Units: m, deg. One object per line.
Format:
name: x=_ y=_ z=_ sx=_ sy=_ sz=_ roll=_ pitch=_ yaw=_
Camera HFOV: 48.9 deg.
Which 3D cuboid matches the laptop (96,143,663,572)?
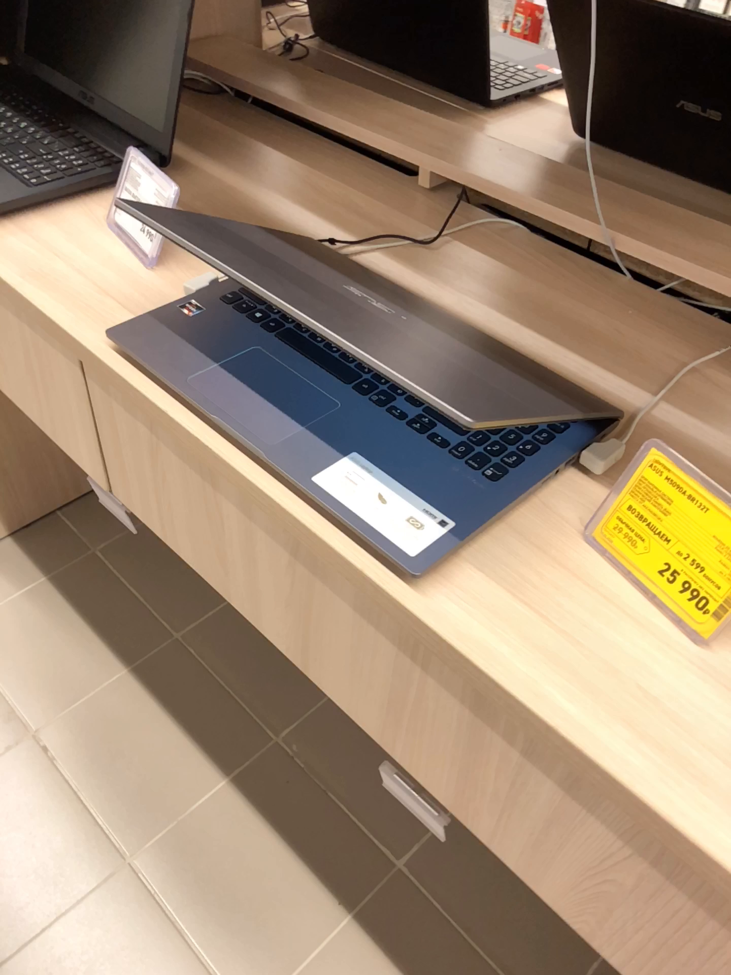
laptop: x=-0.001 y=-0.129 z=0.616 sx=0.233 sy=0.111 sz=0.349 roll=-32 pitch=53 yaw=-32
